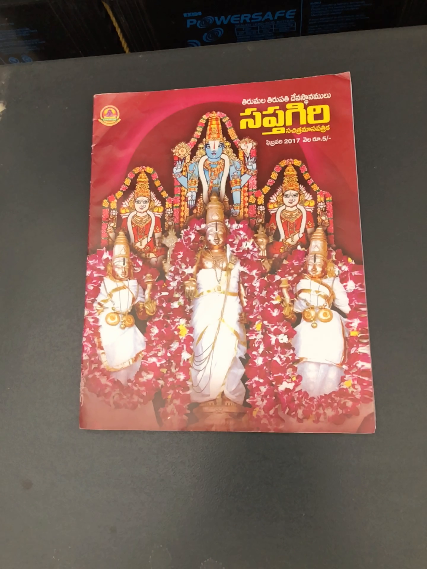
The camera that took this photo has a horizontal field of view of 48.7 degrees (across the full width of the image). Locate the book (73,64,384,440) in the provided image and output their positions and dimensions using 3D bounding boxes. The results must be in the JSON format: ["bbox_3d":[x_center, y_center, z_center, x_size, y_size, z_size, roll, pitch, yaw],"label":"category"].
[{"bbox_3d":[0.006,-0.026,0.343,0.200,0.030,0.260,-2,78,8],"label":"book"}]
